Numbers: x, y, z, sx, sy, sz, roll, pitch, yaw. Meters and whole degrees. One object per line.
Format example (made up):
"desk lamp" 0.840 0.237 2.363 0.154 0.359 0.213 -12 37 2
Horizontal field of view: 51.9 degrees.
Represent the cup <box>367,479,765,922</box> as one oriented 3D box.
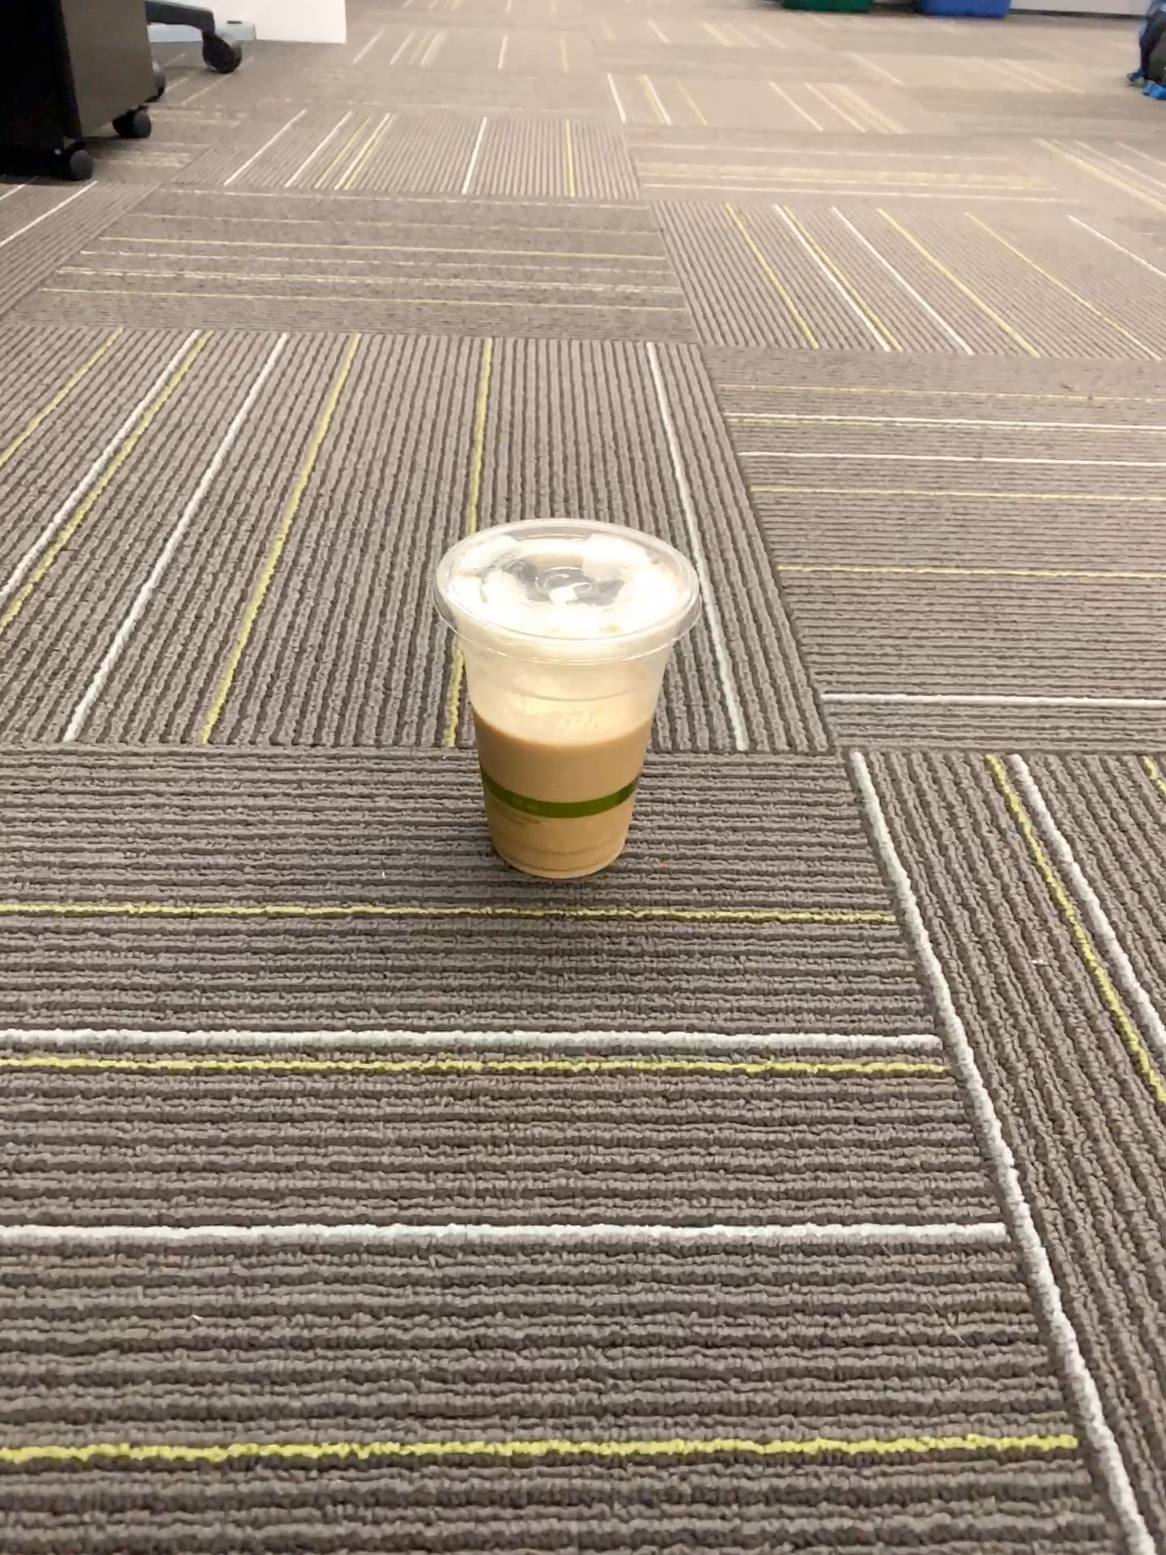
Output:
"cup" -0.008 -0.034 0.458 0.100 0.109 0.100 2 36 -1
